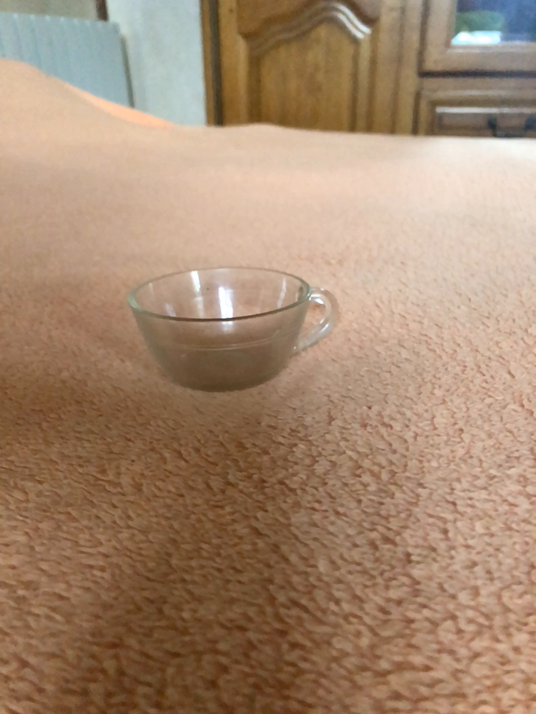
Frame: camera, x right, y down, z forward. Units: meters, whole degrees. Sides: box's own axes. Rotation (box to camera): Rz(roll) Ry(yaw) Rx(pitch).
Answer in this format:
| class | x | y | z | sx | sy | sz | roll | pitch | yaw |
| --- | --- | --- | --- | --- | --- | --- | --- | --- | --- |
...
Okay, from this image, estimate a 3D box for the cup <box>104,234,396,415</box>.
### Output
| class | x | y | z | sx | sy | sz | roll | pitch | yaw |
| --- | --- | --- | --- | --- | --- | --- | --- | --- | --- |
| cup | -0.012 | -0.023 | 0.285 | 0.110 | 0.040 | 0.090 | -12 | 27 | -20 |
